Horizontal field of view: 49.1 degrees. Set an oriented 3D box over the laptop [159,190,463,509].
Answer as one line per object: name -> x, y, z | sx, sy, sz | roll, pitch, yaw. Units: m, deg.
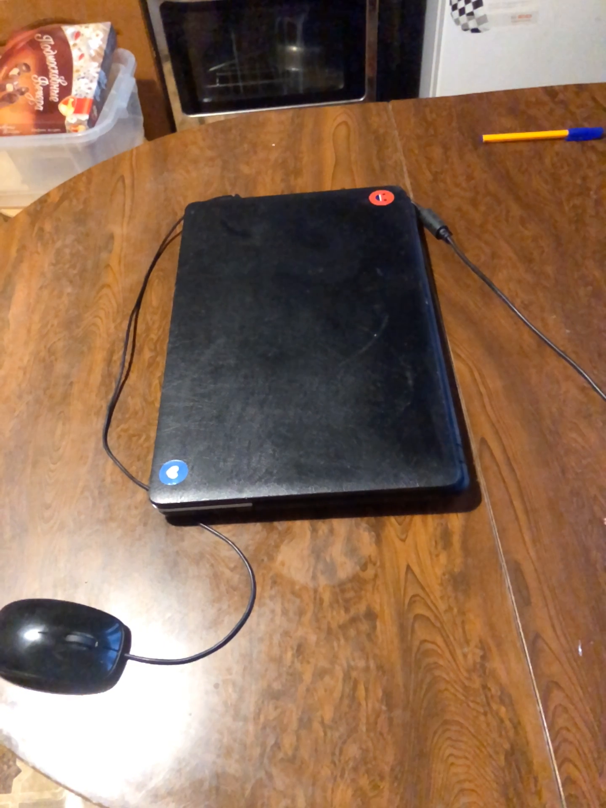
laptop -> -0.002, -0.075, 0.629 | 0.238, 0.007, 0.367 | -5, 54, 3
